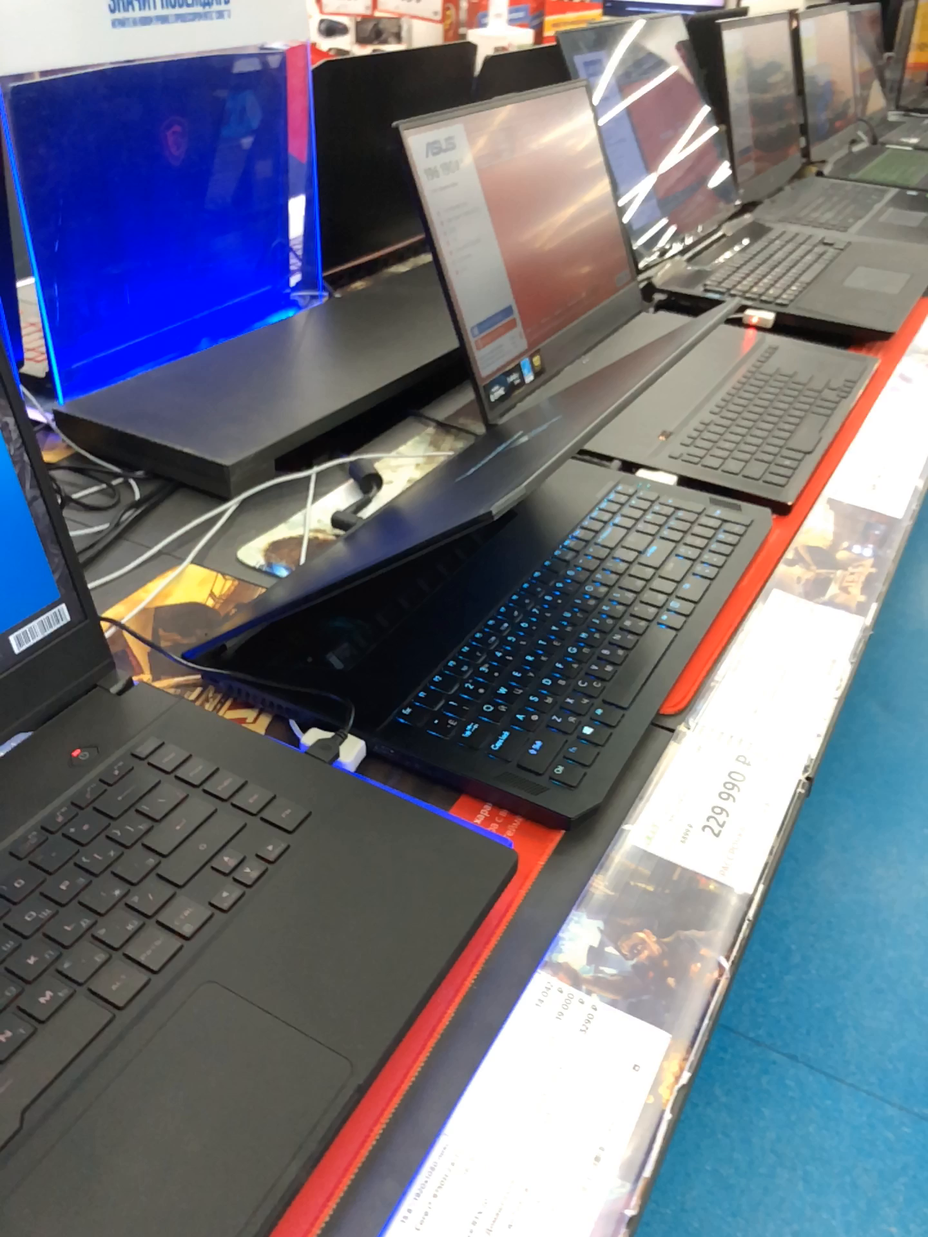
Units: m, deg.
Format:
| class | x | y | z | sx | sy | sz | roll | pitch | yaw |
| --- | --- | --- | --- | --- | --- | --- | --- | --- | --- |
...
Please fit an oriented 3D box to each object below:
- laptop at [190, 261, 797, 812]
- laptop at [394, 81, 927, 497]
| class | x | y | z | sx | sy | sz | roll | pitch | yaw |
| --- | --- | --- | --- | --- | --- | --- | --- | --- | --- |
| laptop | 0.045 | -0.090 | 0.659 | 0.226 | 0.152 | 0.372 | 19 | 37 | 21 |
| laptop | 0.190 | -0.337 | 0.961 | 0.363 | 0.235 | 0.373 | 18 | 37 | 22 |
